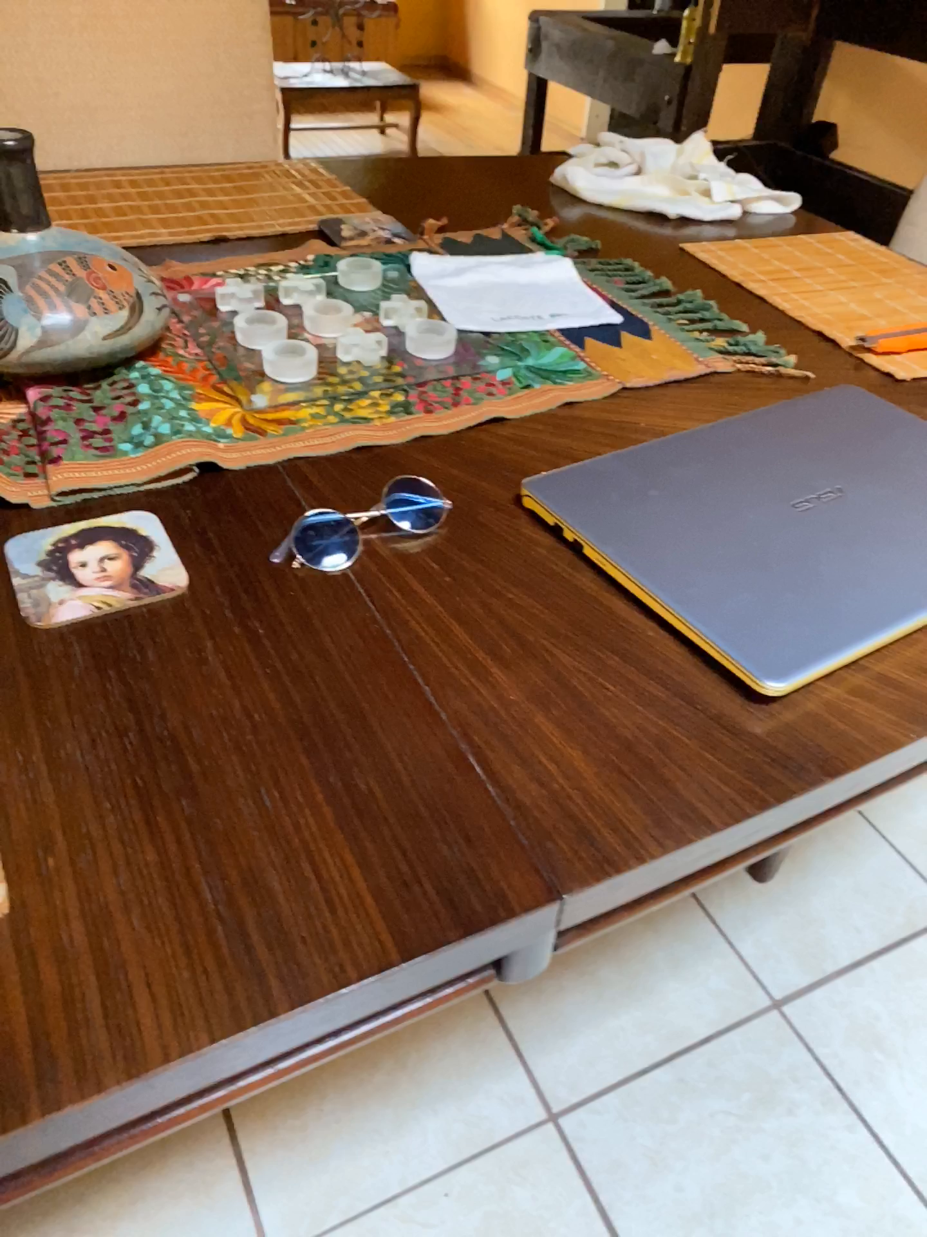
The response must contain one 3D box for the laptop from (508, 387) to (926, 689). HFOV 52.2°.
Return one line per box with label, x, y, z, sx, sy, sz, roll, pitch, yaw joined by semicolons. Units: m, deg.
laptop;0.258;-0.089;0.736;0.384;0.001;0.247;-20;47;-28
